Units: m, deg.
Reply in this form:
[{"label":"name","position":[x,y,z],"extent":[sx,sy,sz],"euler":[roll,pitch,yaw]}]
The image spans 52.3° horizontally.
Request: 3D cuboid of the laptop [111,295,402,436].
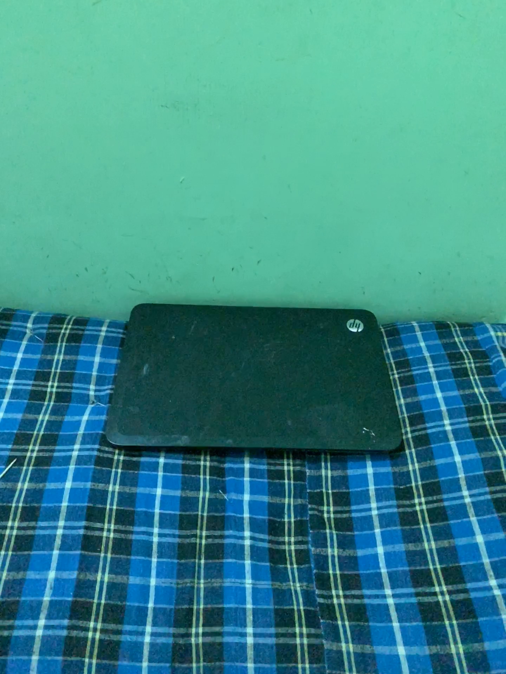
[{"label":"laptop","position":[0.005,0.030,0.690],"extent":[0.346,0.018,0.217],"euler":[1,49,-2]}]
